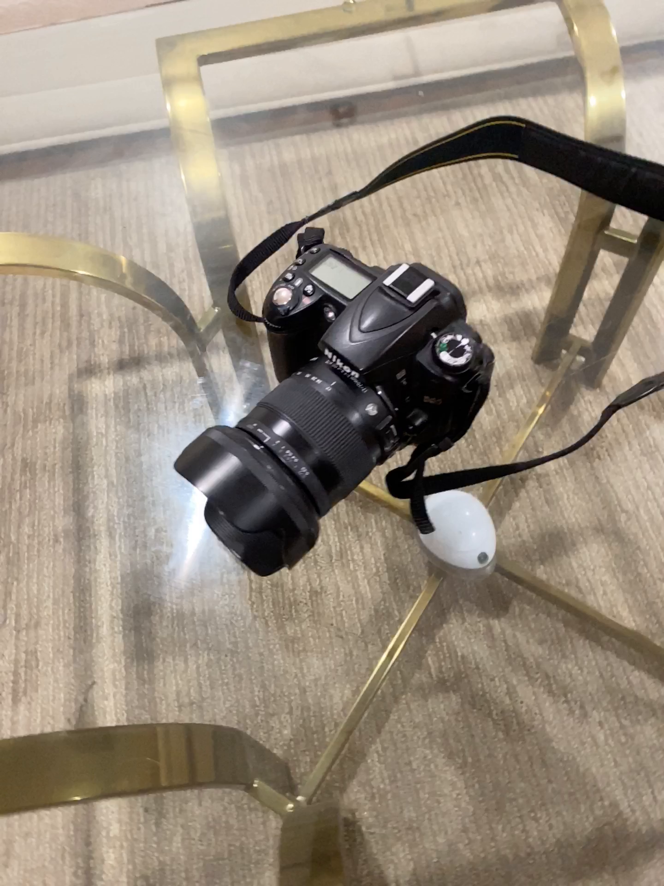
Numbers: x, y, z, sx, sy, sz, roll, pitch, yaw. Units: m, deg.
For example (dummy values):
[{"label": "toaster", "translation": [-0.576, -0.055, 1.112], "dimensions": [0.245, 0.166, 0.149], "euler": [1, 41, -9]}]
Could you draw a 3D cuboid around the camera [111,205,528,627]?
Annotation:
[{"label": "camera", "translation": [-0.001, -0.017, 0.405], "dimensions": [0.130, 0.120, 0.180], "euler": [37, 69, 22]}]
